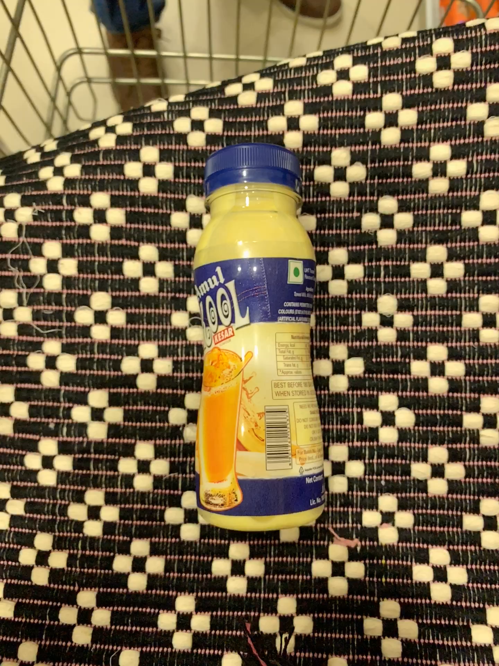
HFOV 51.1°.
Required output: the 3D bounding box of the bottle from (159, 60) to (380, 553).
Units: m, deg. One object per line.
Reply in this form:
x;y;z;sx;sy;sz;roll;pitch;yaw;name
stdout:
0.007;-0.008;0.209;0.060;0.060;0.160;6;81;-39;bottle
